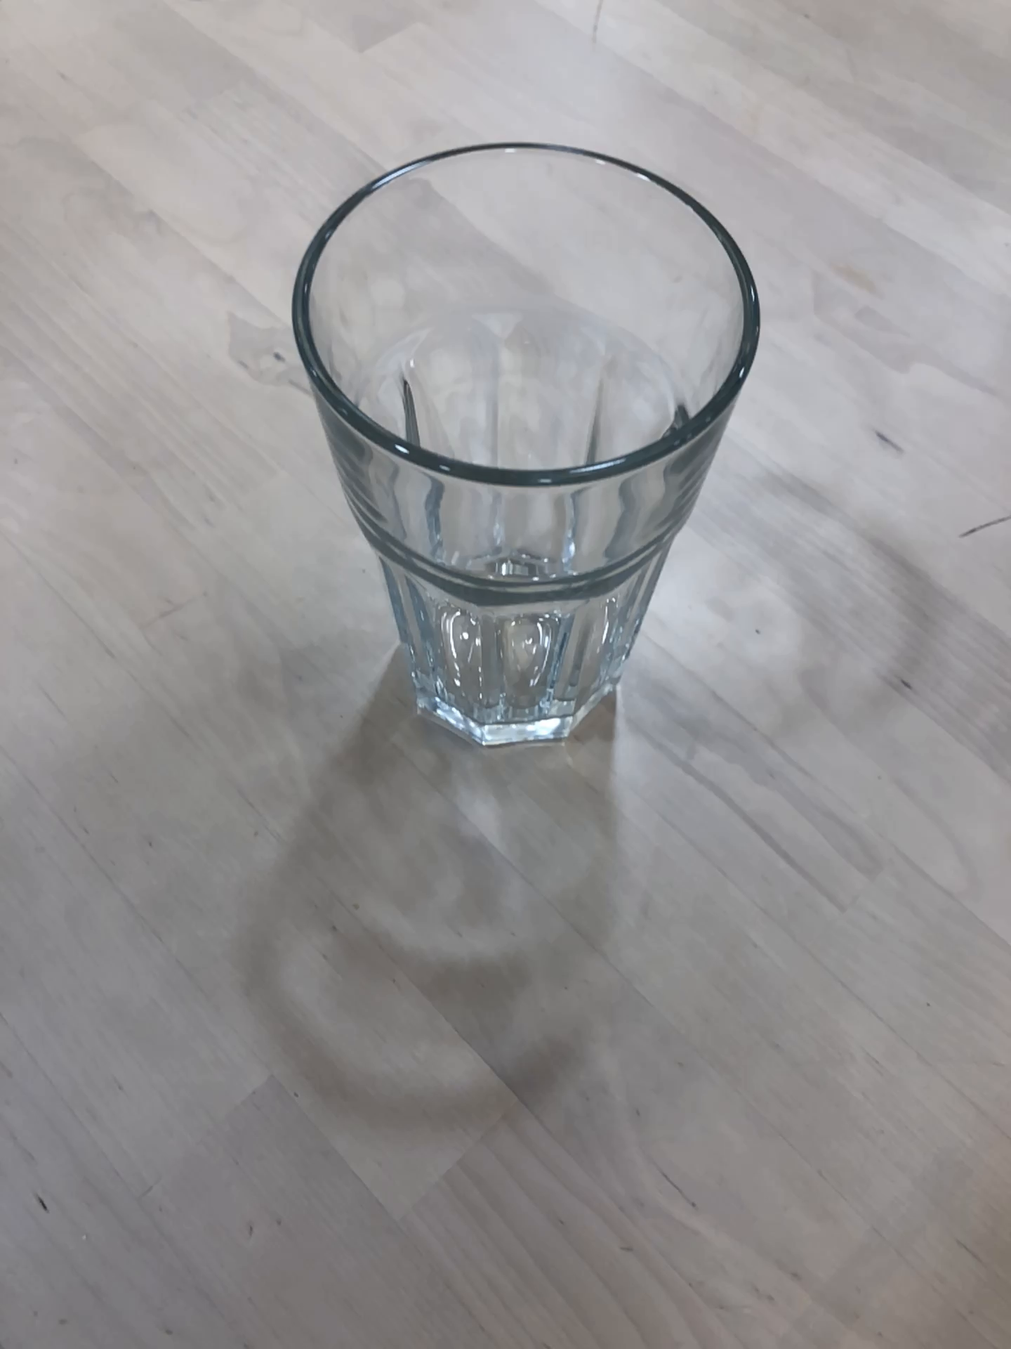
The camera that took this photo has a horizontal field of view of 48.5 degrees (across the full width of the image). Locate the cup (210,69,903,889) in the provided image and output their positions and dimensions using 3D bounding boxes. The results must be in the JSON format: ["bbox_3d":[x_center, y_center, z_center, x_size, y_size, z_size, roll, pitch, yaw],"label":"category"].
[{"bbox_3d":[0.006,-0.032,0.271,0.090,0.159,0.090,1,62,-1],"label":"cup"}]
